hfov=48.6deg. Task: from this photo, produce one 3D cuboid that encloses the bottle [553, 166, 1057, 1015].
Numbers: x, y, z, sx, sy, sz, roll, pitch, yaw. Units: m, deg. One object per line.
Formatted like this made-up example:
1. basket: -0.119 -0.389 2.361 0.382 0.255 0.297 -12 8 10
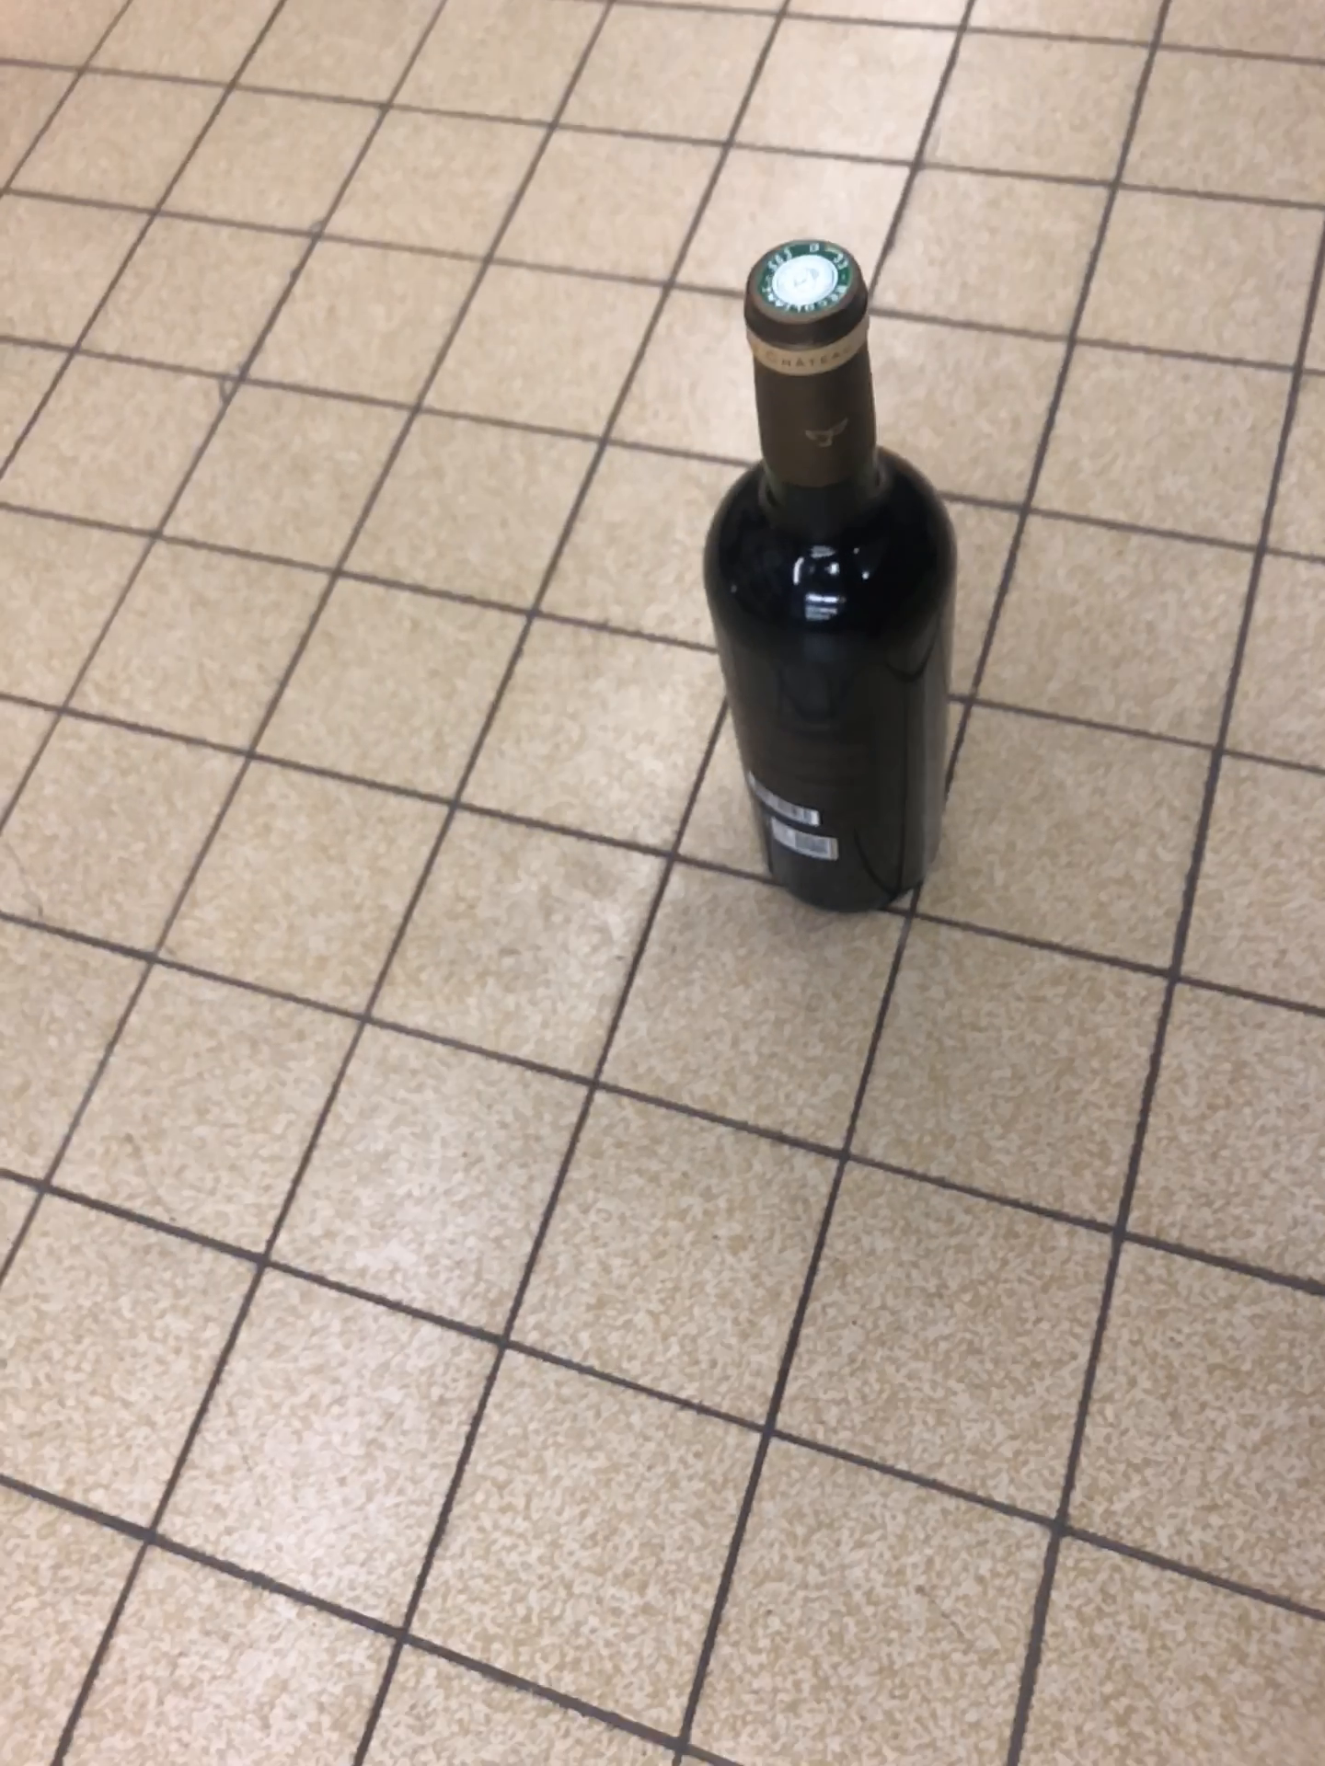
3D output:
1. bottle: 0.052 -0.062 0.461 0.080 0.289 0.090 26 72 19
